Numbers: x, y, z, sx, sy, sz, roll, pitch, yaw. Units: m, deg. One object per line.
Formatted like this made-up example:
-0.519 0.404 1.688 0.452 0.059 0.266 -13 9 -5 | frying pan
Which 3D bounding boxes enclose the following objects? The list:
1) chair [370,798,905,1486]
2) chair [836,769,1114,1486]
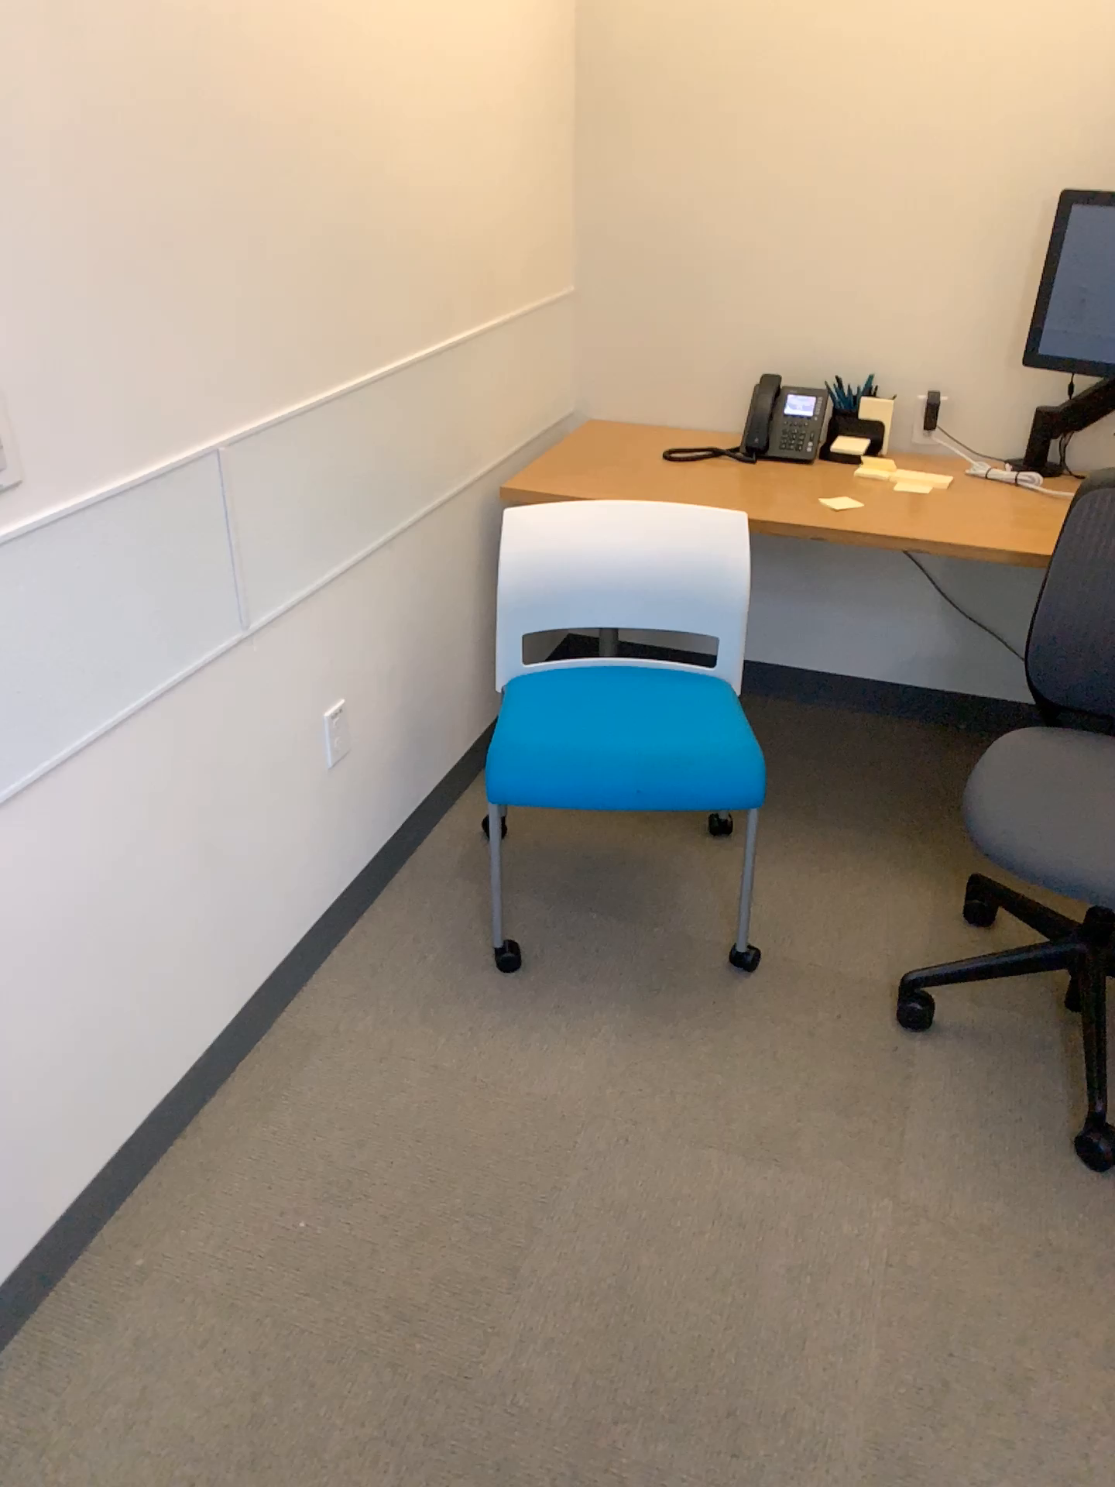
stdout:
0.112 0.599 1.633 0.530 0.686 0.794 3 30 5 | chair
0.960 0.730 1.379 0.753 0.885 0.972 22 36 33 | chair
